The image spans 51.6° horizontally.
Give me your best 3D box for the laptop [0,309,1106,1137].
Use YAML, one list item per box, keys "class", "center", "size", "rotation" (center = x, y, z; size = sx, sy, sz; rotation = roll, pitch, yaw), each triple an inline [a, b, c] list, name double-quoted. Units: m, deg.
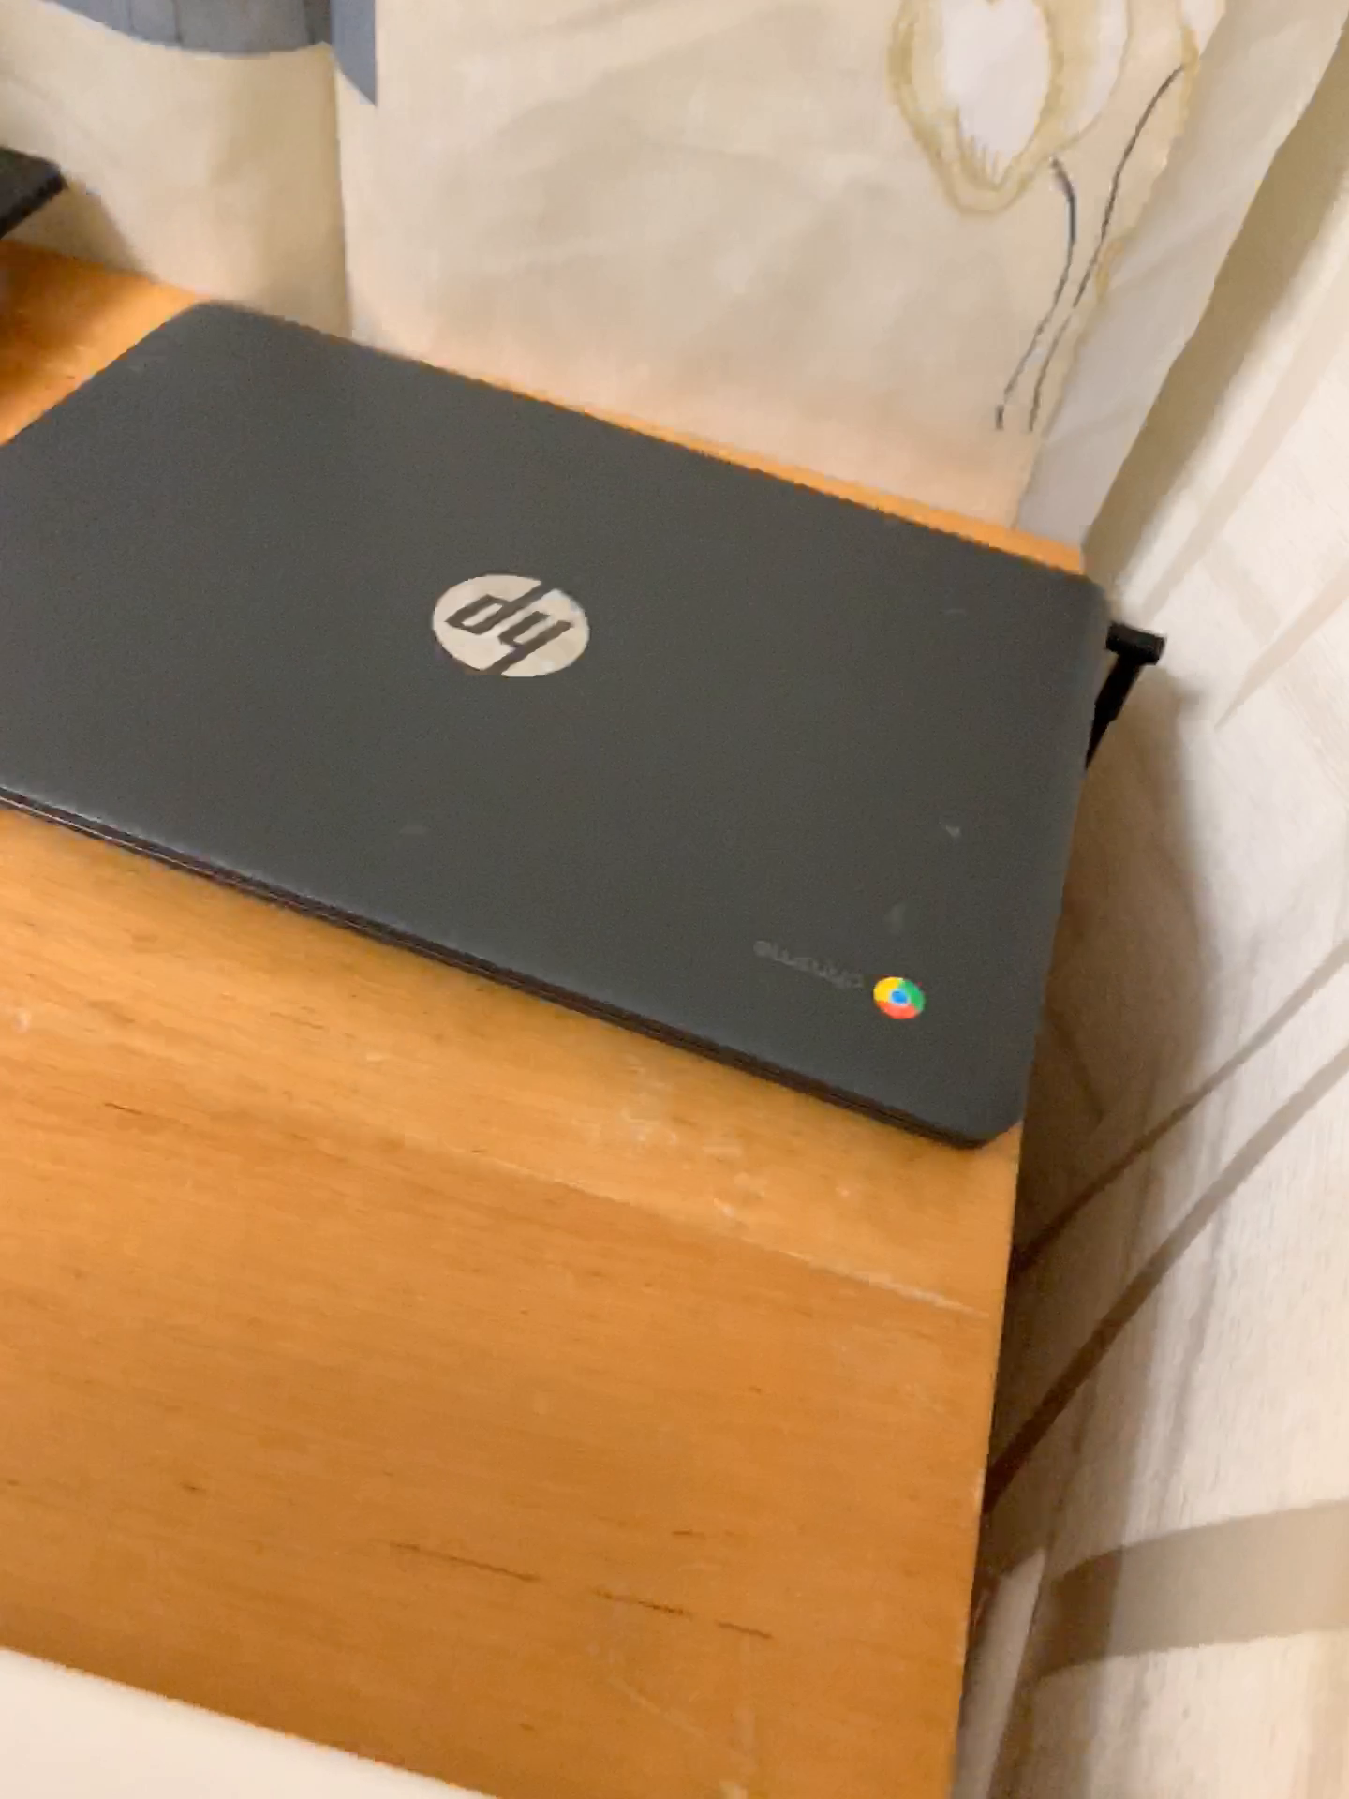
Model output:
- class: "laptop"
  center: [-0.040, -0.068, 0.346]
  size: [0.281, 0.002, 0.195]
  rotation: [19, 48, 7]
